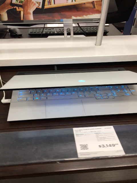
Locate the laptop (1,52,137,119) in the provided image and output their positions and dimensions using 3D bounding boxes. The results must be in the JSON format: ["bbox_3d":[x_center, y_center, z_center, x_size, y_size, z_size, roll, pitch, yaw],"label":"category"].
[{"bbox_3d":[0.036,-0.031,0.584,0.435,0.101,0.217,-3,37,-3],"label":"laptop"}]
